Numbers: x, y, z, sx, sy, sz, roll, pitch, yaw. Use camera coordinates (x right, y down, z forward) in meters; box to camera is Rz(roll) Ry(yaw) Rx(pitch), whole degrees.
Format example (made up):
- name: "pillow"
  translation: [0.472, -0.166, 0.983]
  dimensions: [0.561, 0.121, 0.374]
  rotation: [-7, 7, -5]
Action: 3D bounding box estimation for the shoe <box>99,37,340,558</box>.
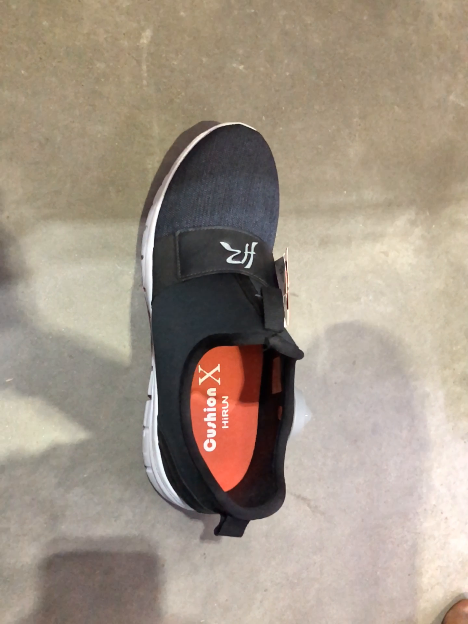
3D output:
- name: "shoe"
  translation: [-0.016, -0.005, 0.344]
  dimensions: [0.100, 0.130, 0.270]
  rotation: [7, 84, -21]
